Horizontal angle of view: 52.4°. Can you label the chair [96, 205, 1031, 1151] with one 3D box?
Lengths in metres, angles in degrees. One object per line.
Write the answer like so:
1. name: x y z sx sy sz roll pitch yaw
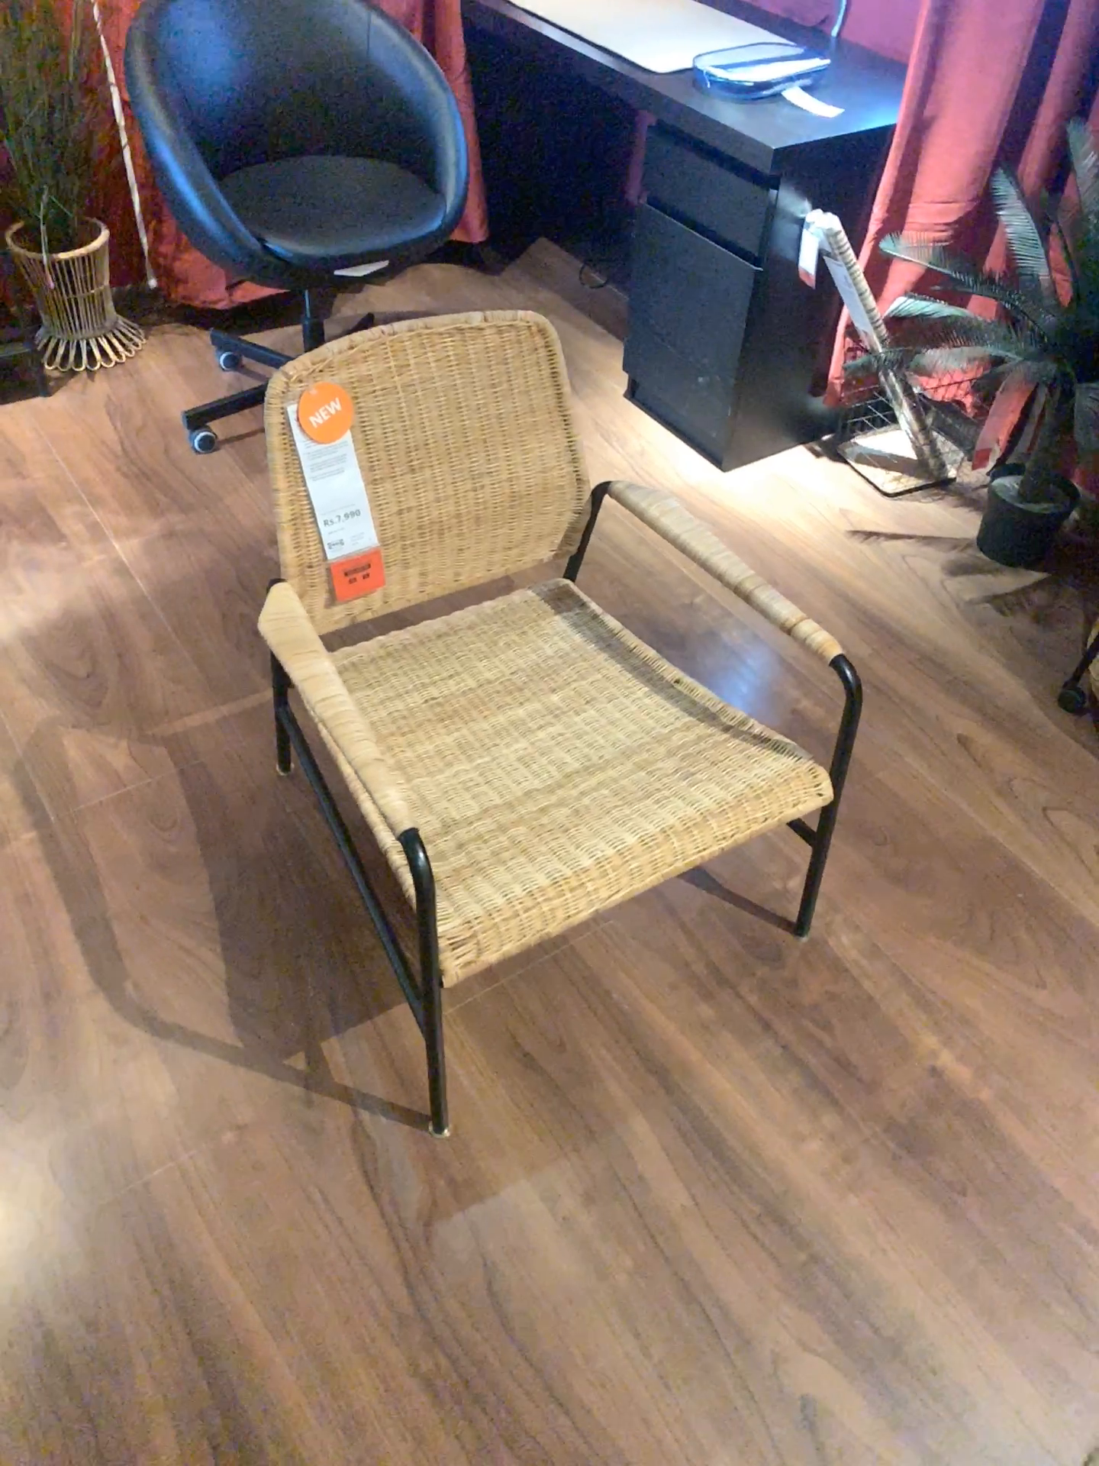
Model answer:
1. chair: -0.041 -0.117 1.489 0.711 0.757 0.792 -22 51 -24
